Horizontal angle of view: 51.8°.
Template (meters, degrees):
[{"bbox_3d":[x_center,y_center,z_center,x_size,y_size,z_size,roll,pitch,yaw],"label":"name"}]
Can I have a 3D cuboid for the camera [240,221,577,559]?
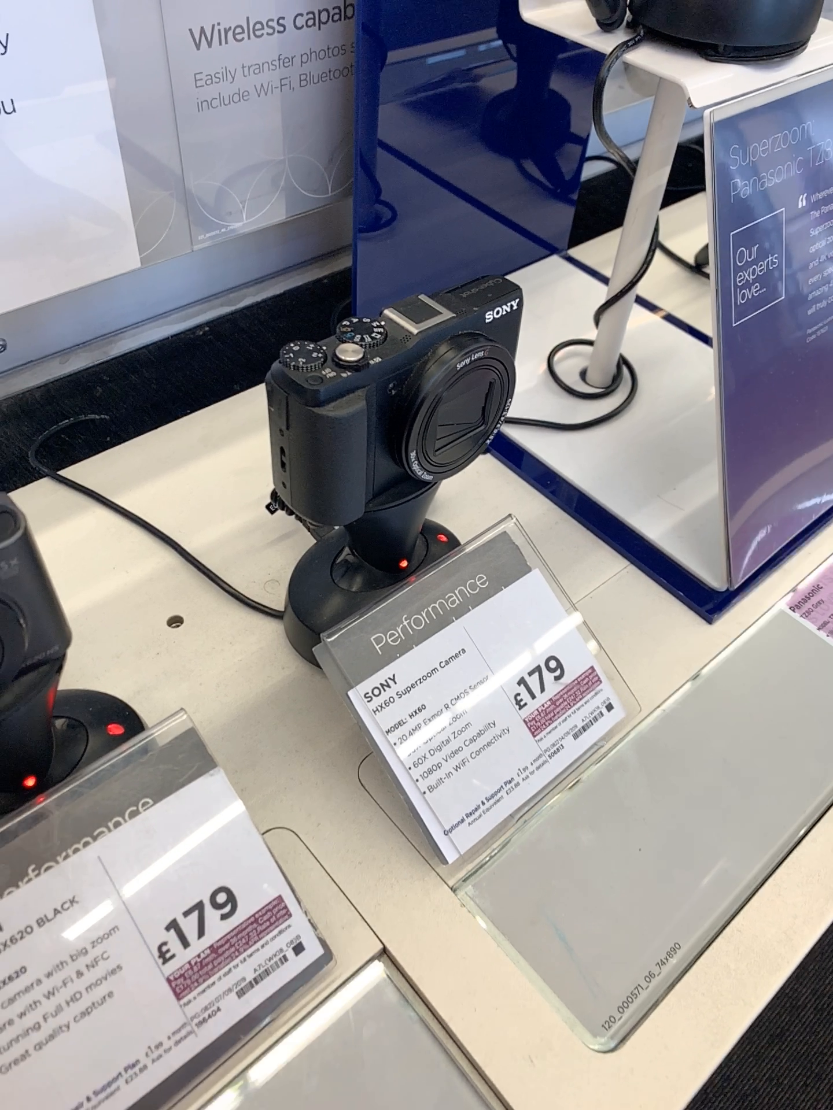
[{"bbox_3d":[-0.001,-0.060,0.300,0.110,0.069,0.040,-34,58,-30],"label":"camera"}]
